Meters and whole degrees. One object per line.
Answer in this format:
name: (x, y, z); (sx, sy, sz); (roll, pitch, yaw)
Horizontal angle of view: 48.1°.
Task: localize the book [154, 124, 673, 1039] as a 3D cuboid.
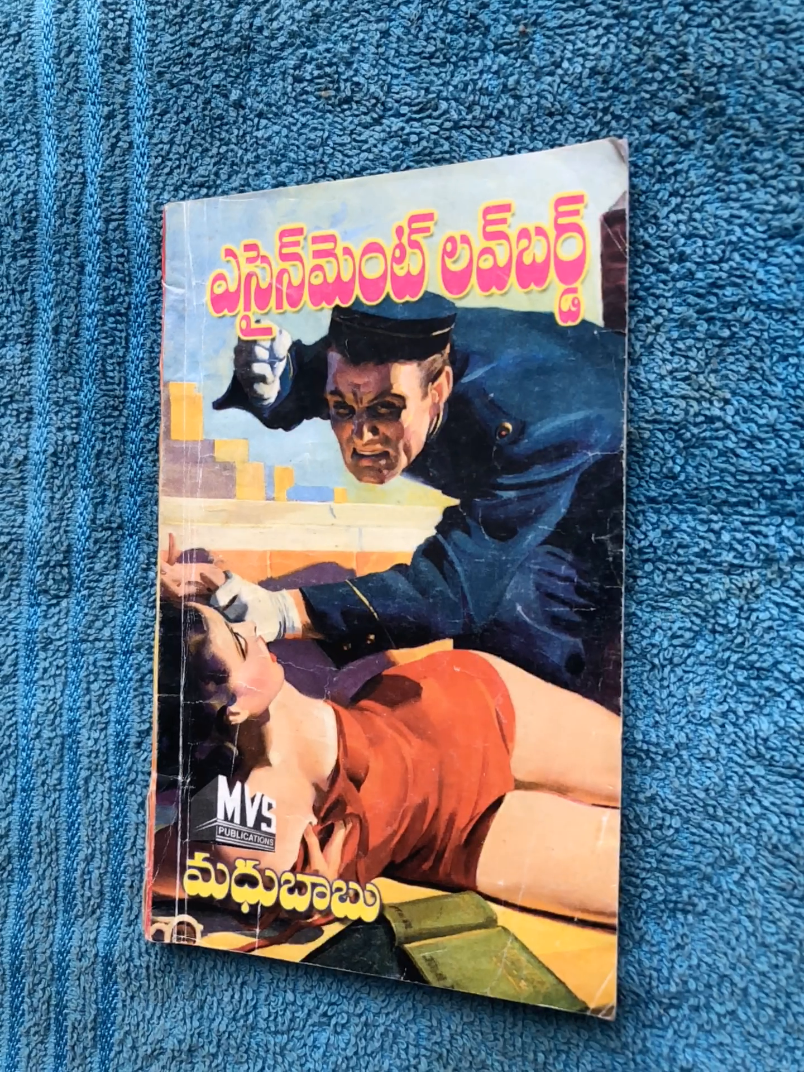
book: (0.003, 0.007, 0.187); (0.100, 0.030, 0.160); (1, 88, 18)
